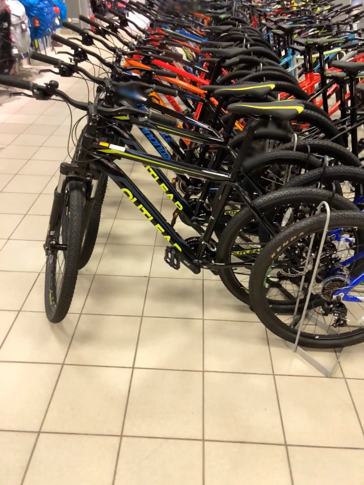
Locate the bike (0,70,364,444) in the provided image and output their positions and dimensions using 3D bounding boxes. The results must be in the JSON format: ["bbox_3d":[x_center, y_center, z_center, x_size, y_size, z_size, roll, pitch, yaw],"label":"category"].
[{"bbox_3d":[0.167,0.001,1.524,1.353,1.044,0.665,-4,34,-7],"label":"bike"}]
